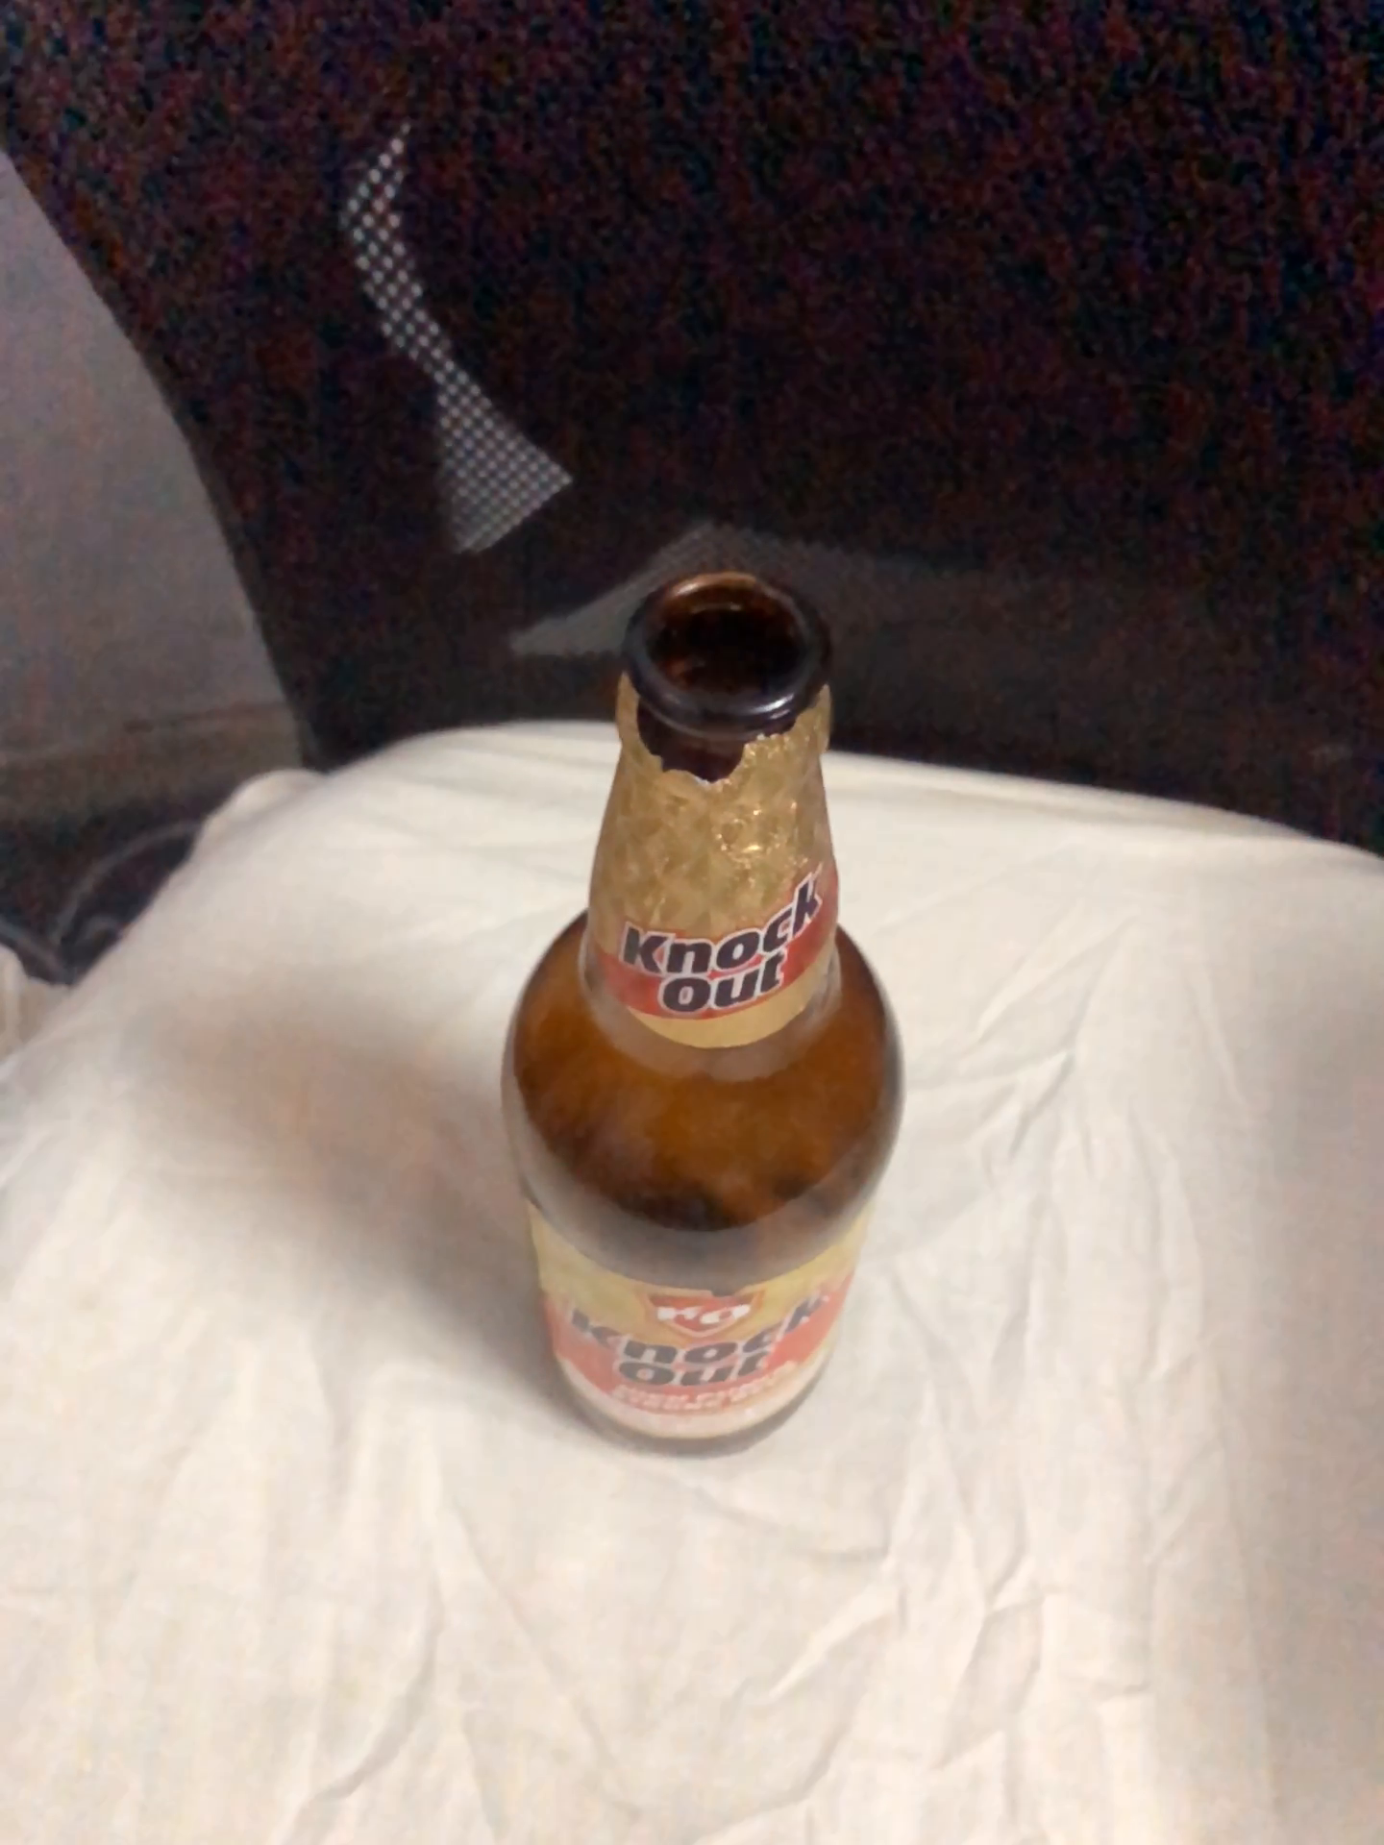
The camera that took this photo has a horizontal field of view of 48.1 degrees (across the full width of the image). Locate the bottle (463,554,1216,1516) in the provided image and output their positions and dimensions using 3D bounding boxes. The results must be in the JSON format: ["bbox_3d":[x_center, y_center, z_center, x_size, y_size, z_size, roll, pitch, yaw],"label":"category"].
[{"bbox_3d":[0.008,0.047,0.290,0.080,0.249,0.070,-3,59,-5],"label":"bottle"}]
